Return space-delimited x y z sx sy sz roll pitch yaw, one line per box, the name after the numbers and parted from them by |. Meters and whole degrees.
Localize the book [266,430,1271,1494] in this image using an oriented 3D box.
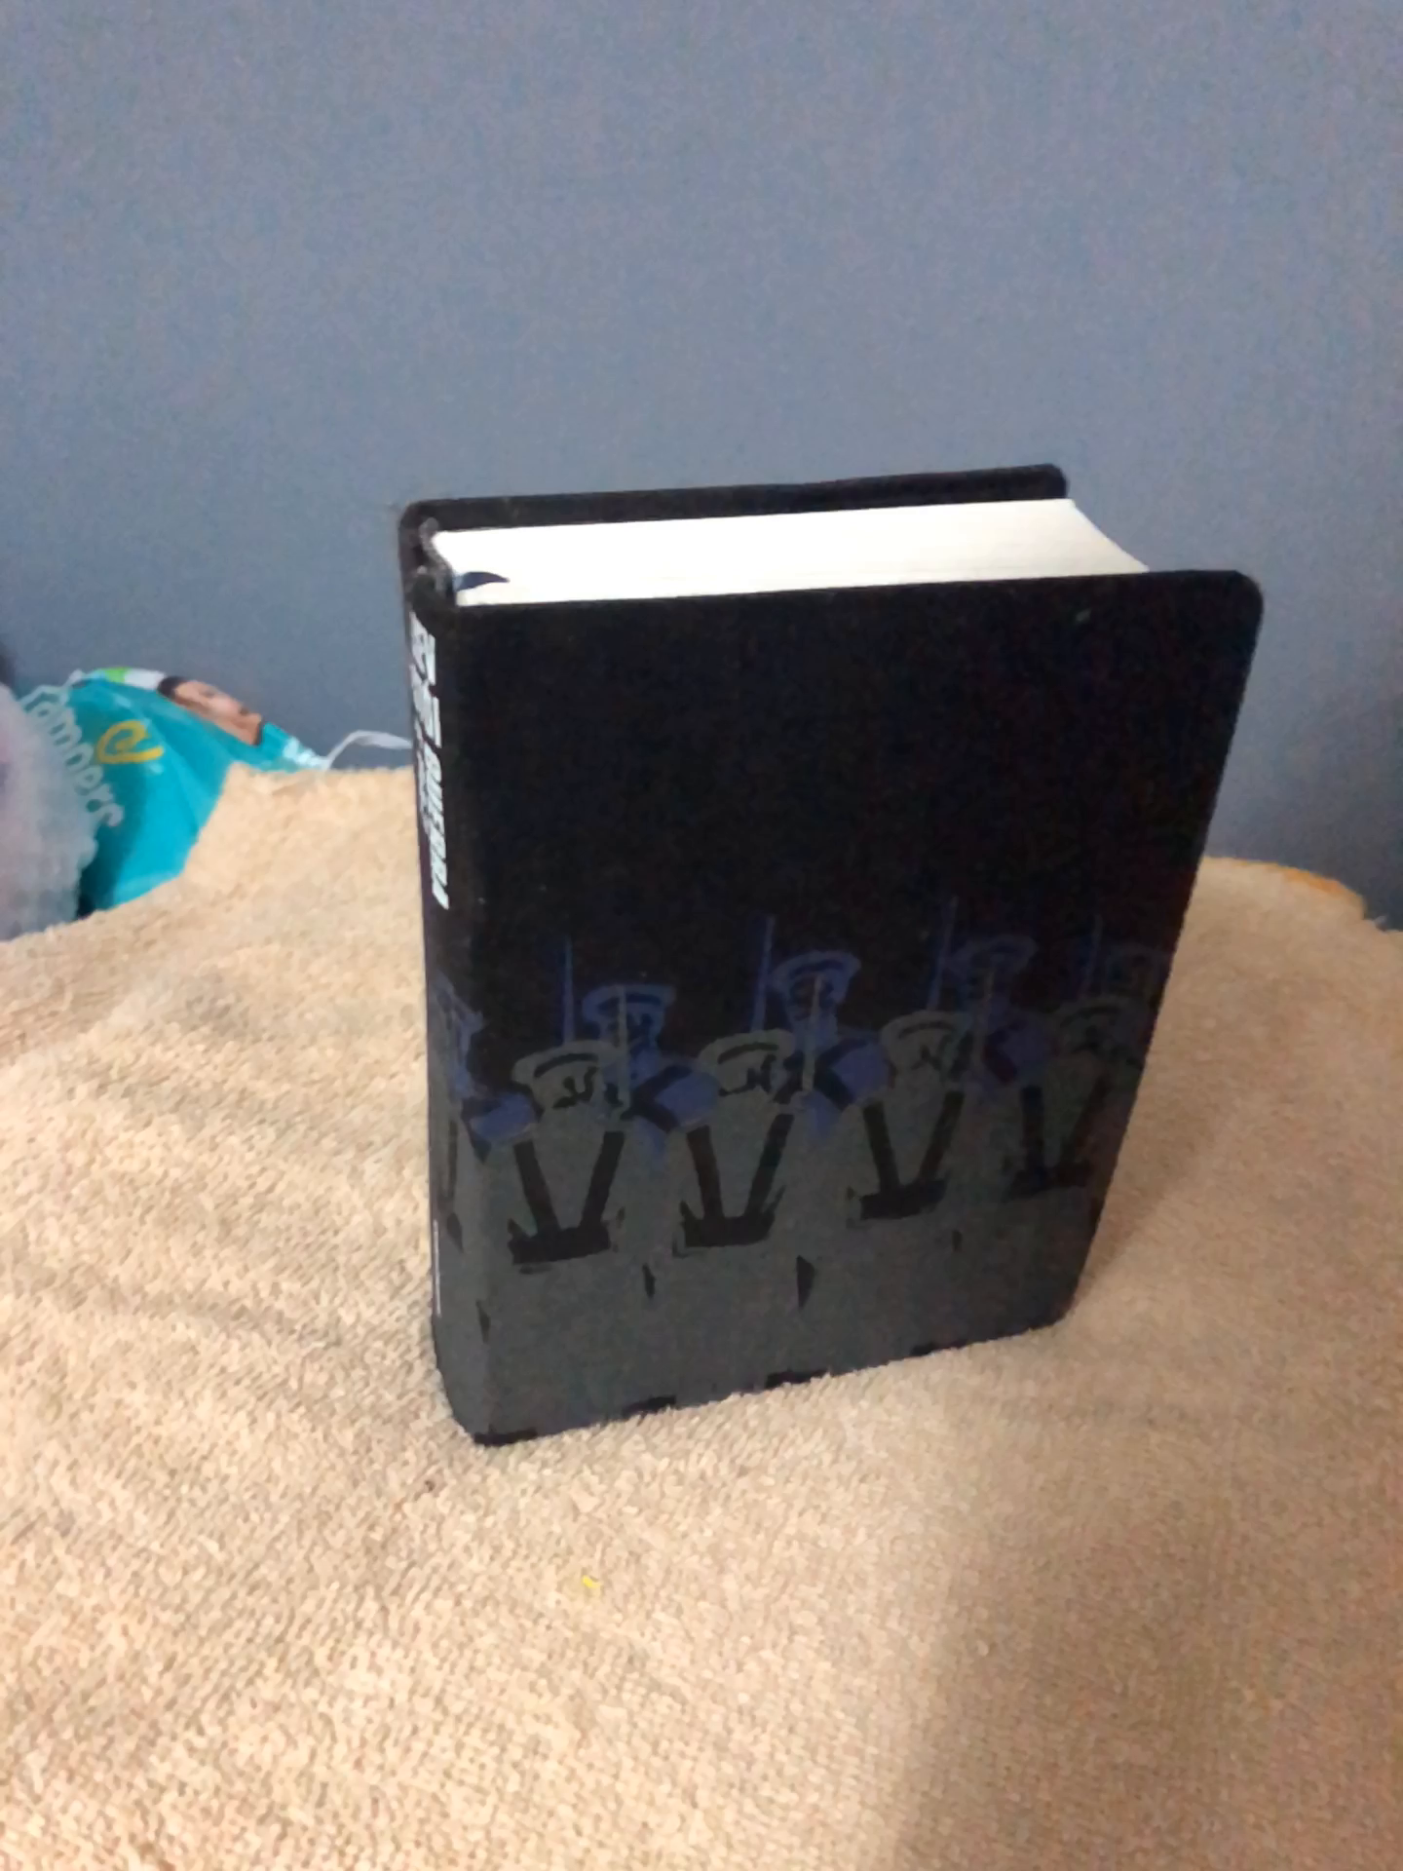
0.007 0.006 0.298 0.150 0.179 0.060 -8 34 -16 | book
